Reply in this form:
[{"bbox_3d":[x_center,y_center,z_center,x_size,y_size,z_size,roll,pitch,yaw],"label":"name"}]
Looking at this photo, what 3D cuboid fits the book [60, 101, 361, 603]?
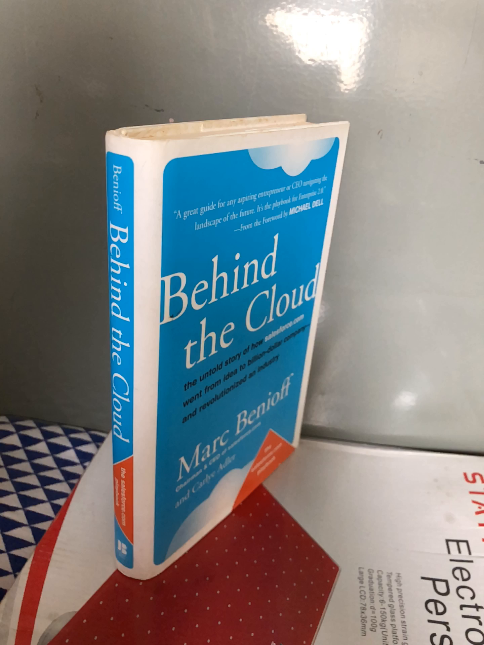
[{"bbox_3d":[-0.007,0.003,0.317,0.040,0.239,0.191,19,27,30],"label":"book"}]
